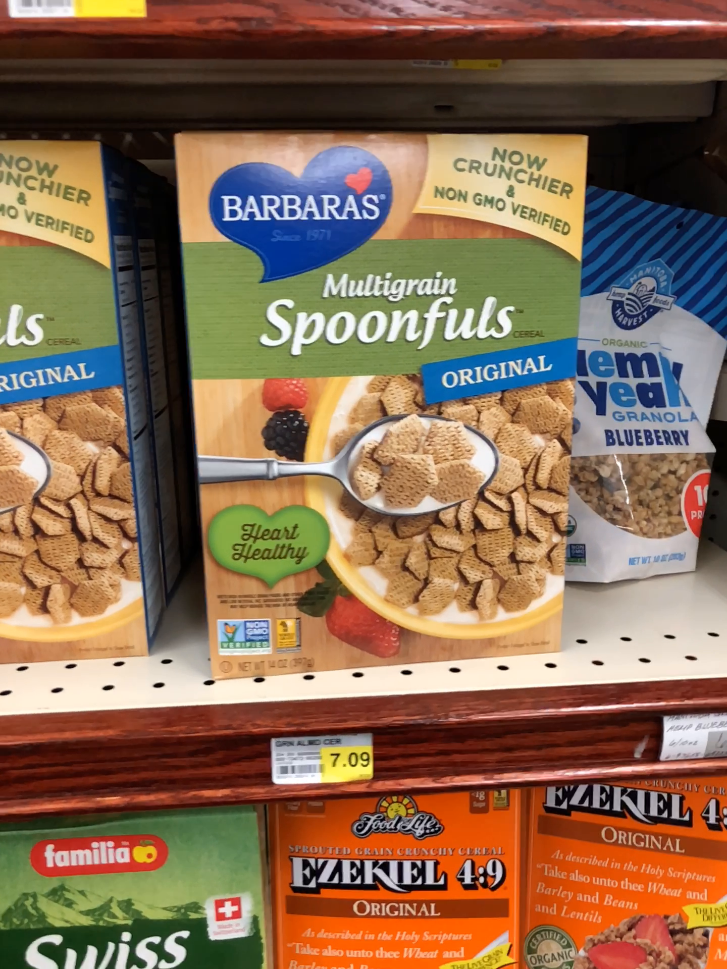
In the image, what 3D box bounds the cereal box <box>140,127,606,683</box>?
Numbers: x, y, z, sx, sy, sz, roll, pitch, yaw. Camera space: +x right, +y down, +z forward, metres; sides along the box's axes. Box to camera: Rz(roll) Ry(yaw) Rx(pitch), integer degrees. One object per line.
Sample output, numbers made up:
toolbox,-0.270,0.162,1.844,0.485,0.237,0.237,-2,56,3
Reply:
cereal box,0.007,-0.038,0.401,0.200,0.250,0.060,-3,14,-8
